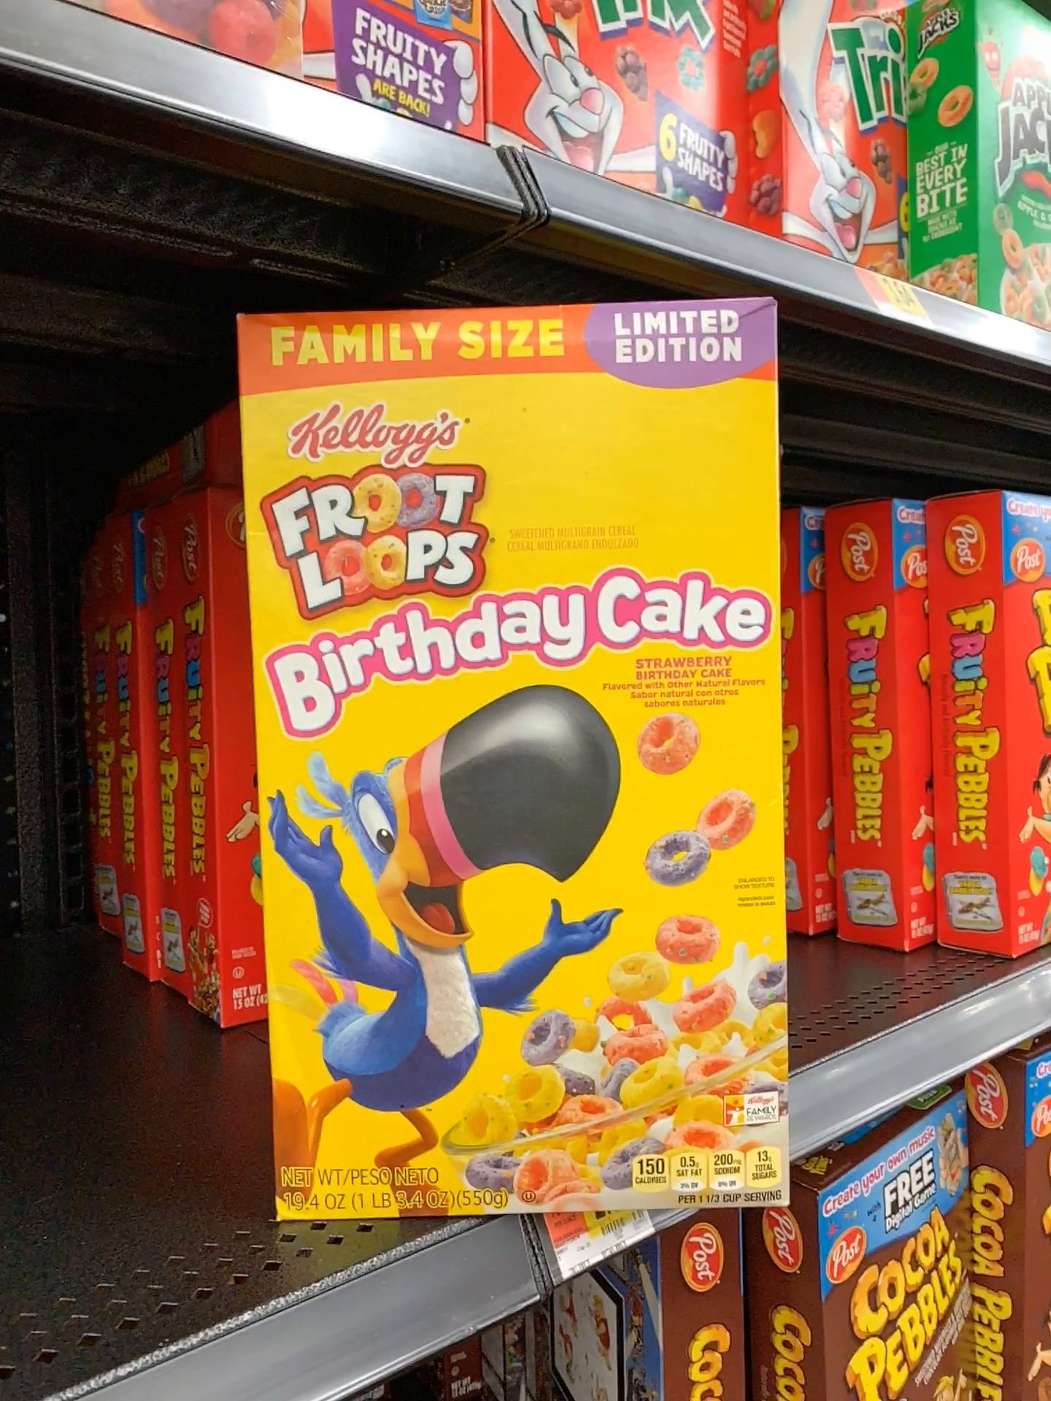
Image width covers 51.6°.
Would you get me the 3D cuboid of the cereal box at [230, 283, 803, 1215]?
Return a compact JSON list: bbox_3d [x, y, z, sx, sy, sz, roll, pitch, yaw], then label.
[{"bbox_3d":[-0.002,0.017,0.426,0.200,0.330,0.080,-1,2,-1],"label":"cereal box"}]
